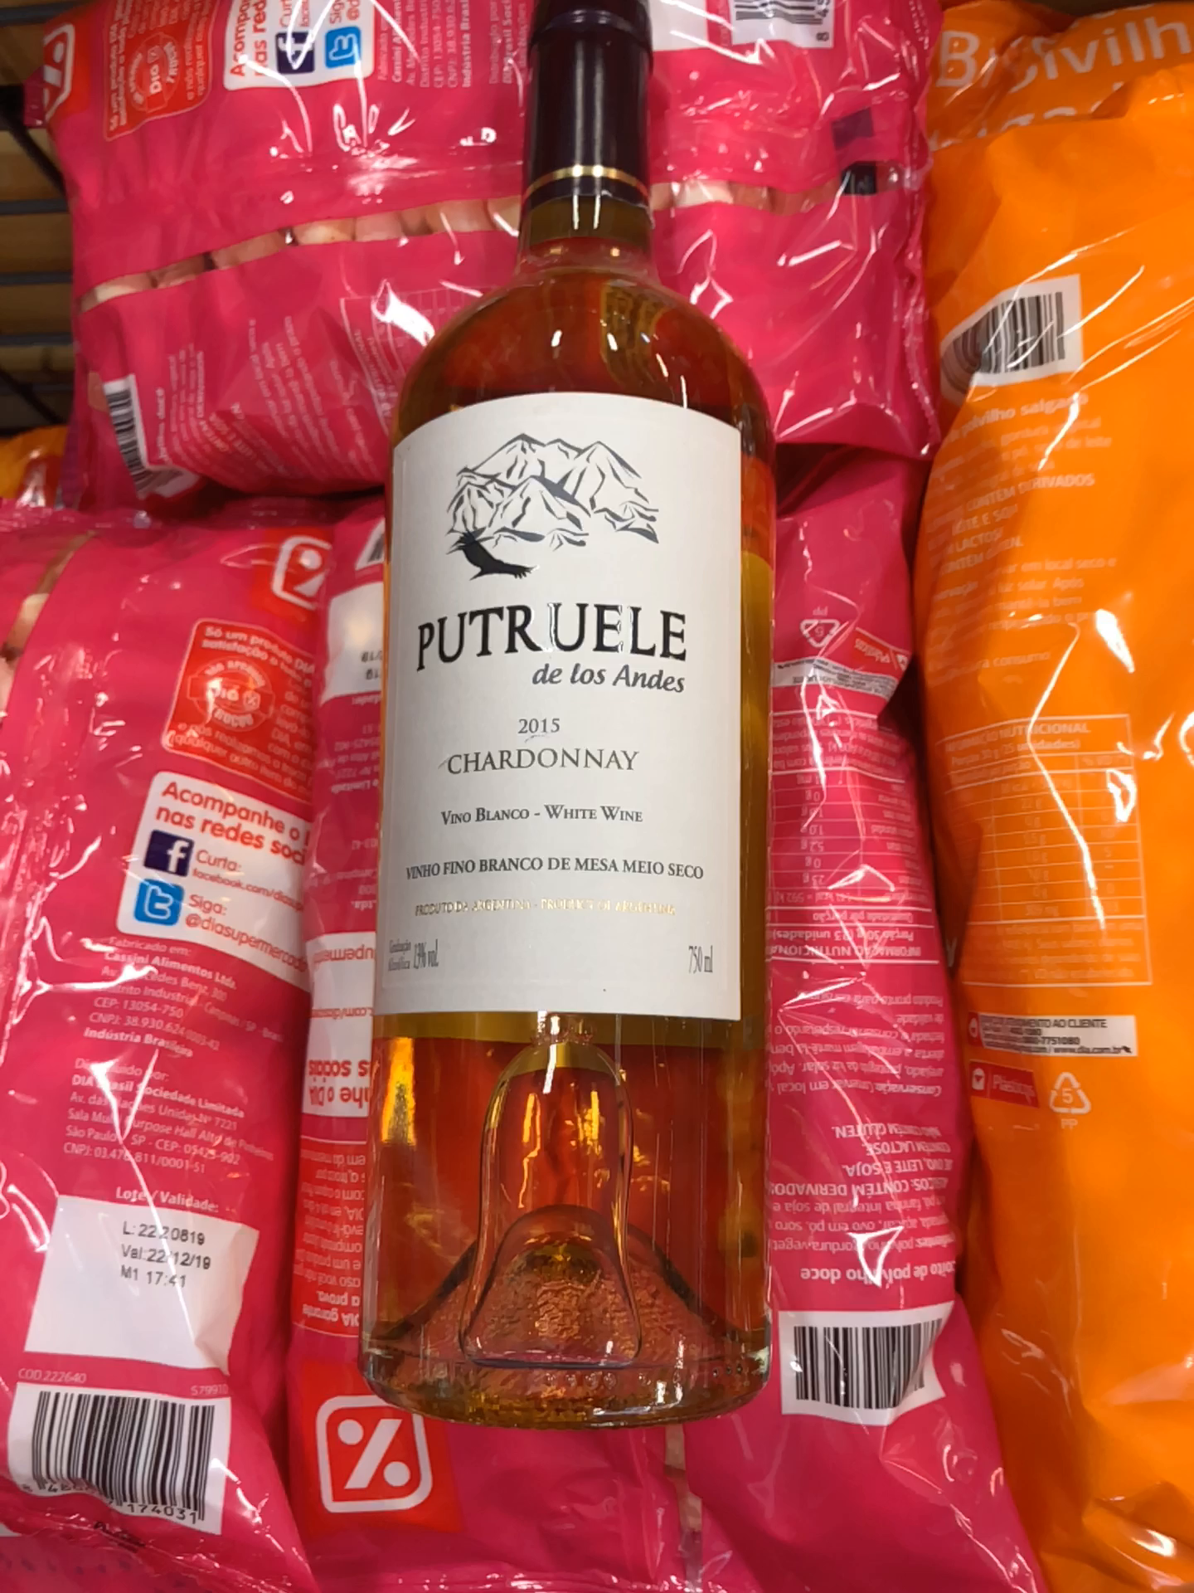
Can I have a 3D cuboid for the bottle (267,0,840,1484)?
[{"bbox_3d":[-0.002,-0.043,0.257,0.080,0.070,0.300,0,75,4],"label":"bottle"}]
